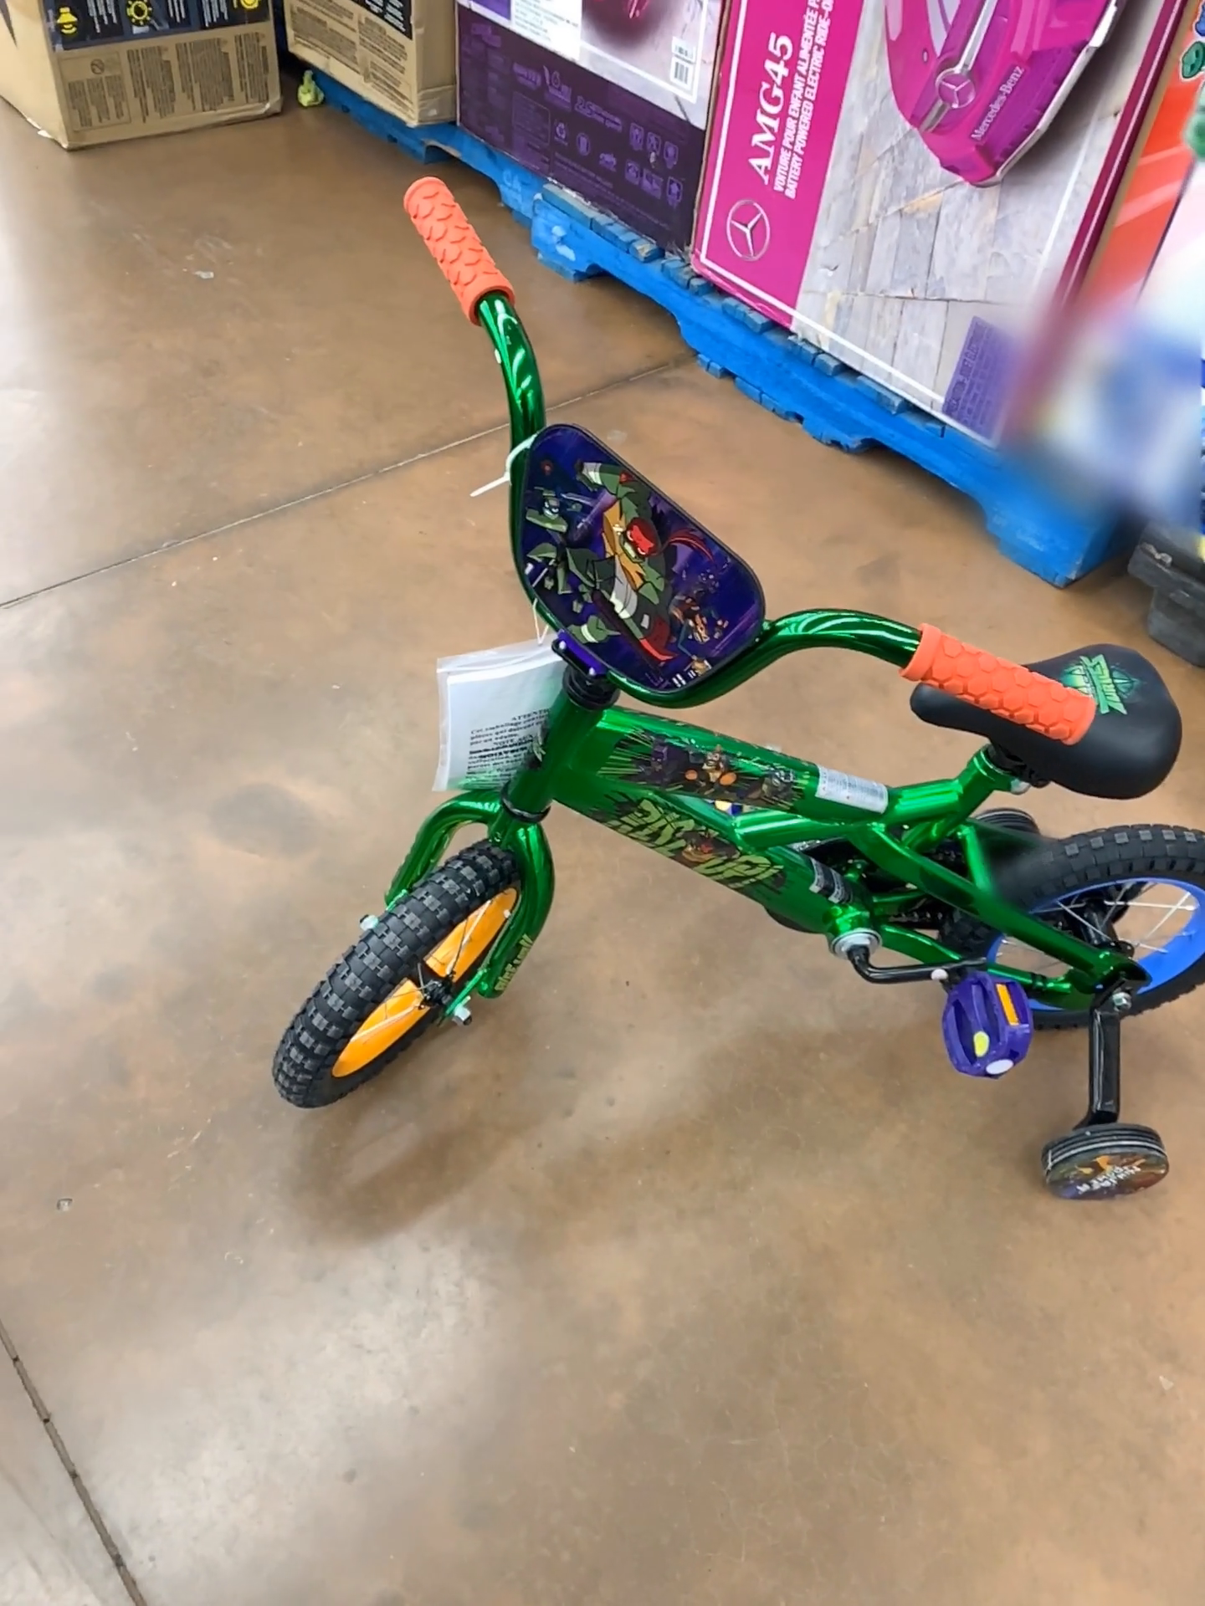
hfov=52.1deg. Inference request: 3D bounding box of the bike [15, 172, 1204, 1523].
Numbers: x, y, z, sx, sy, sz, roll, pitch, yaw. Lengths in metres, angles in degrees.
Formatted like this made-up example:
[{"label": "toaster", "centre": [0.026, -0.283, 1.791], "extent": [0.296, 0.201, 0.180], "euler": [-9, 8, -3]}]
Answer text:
[{"label": "bike", "centre": [0.194, 0.038, 0.861], "extent": [0.829, 0.677, 0.533], "euler": [-3, 48, -11]}]
